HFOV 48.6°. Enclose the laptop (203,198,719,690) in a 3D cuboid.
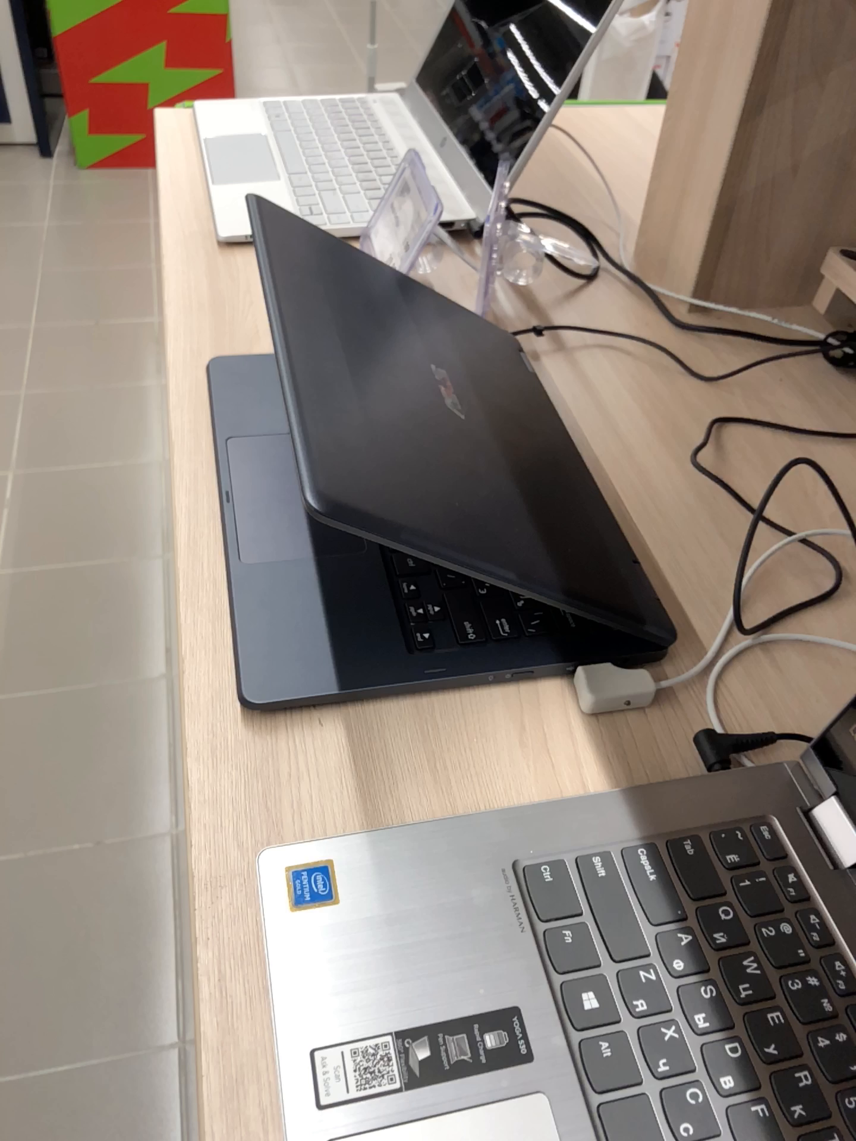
[{"bbox_3d":[-0.009,-0.085,0.480,0.185,0.097,0.273,-6,44,-11],"label":"laptop"}]
